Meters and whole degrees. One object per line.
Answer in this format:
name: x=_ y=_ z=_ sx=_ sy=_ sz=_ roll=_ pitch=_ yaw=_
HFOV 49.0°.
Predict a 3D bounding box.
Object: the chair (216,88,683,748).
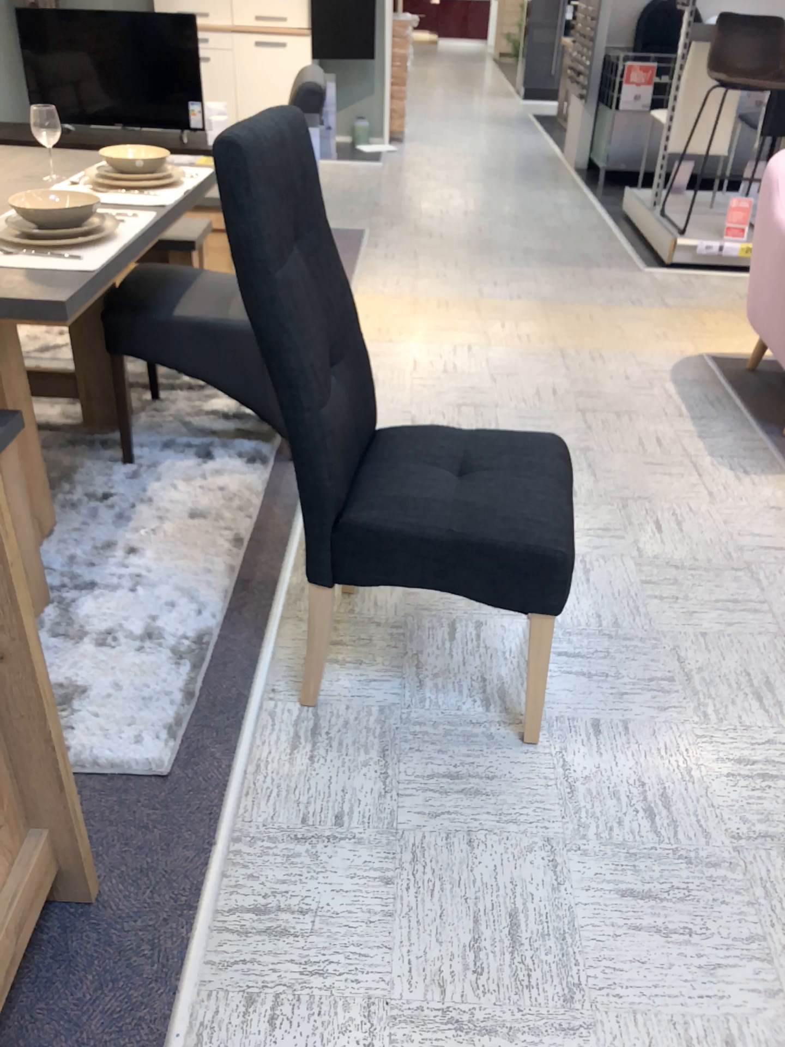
chair: x=0.078 y=-0.176 z=1.580 sx=0.600 sy=1.043 sz=0.483 roll=5 pitch=32 yaw=5
